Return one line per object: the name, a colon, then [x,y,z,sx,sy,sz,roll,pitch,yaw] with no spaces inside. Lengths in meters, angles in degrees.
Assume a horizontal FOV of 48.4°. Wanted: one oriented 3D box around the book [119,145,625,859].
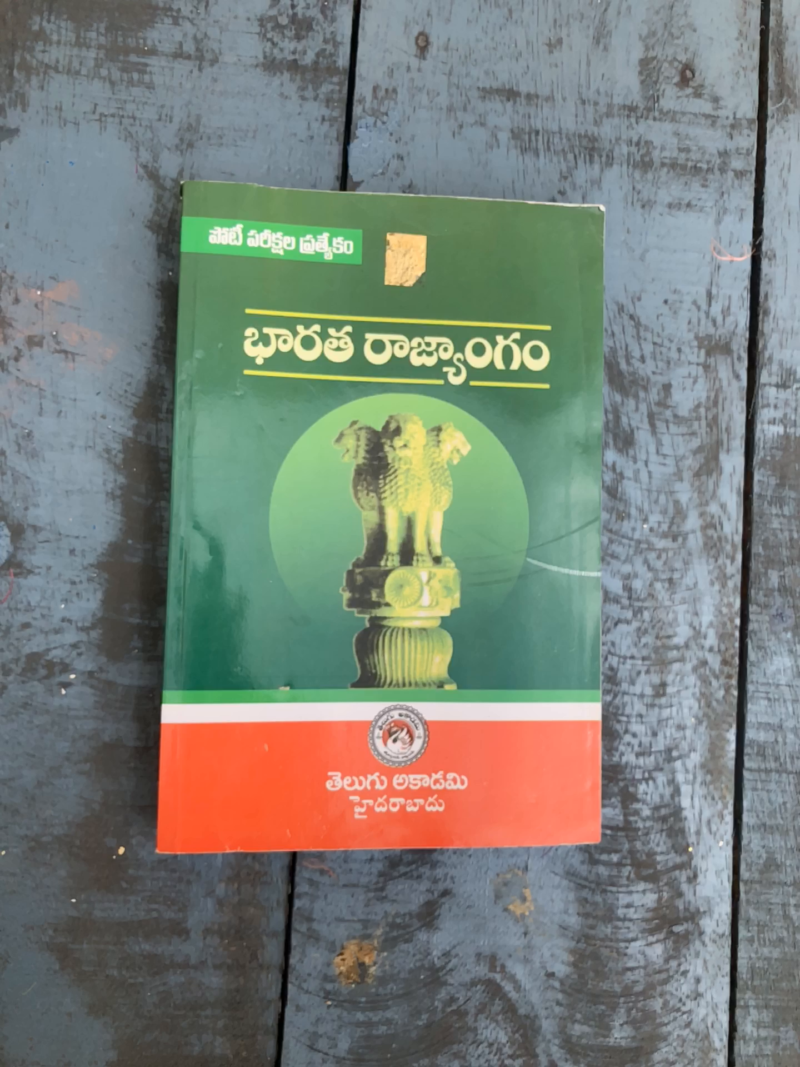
book: [-0.008,-0.011,0.313,0.160,0.040,0.230,1,84,-7]
